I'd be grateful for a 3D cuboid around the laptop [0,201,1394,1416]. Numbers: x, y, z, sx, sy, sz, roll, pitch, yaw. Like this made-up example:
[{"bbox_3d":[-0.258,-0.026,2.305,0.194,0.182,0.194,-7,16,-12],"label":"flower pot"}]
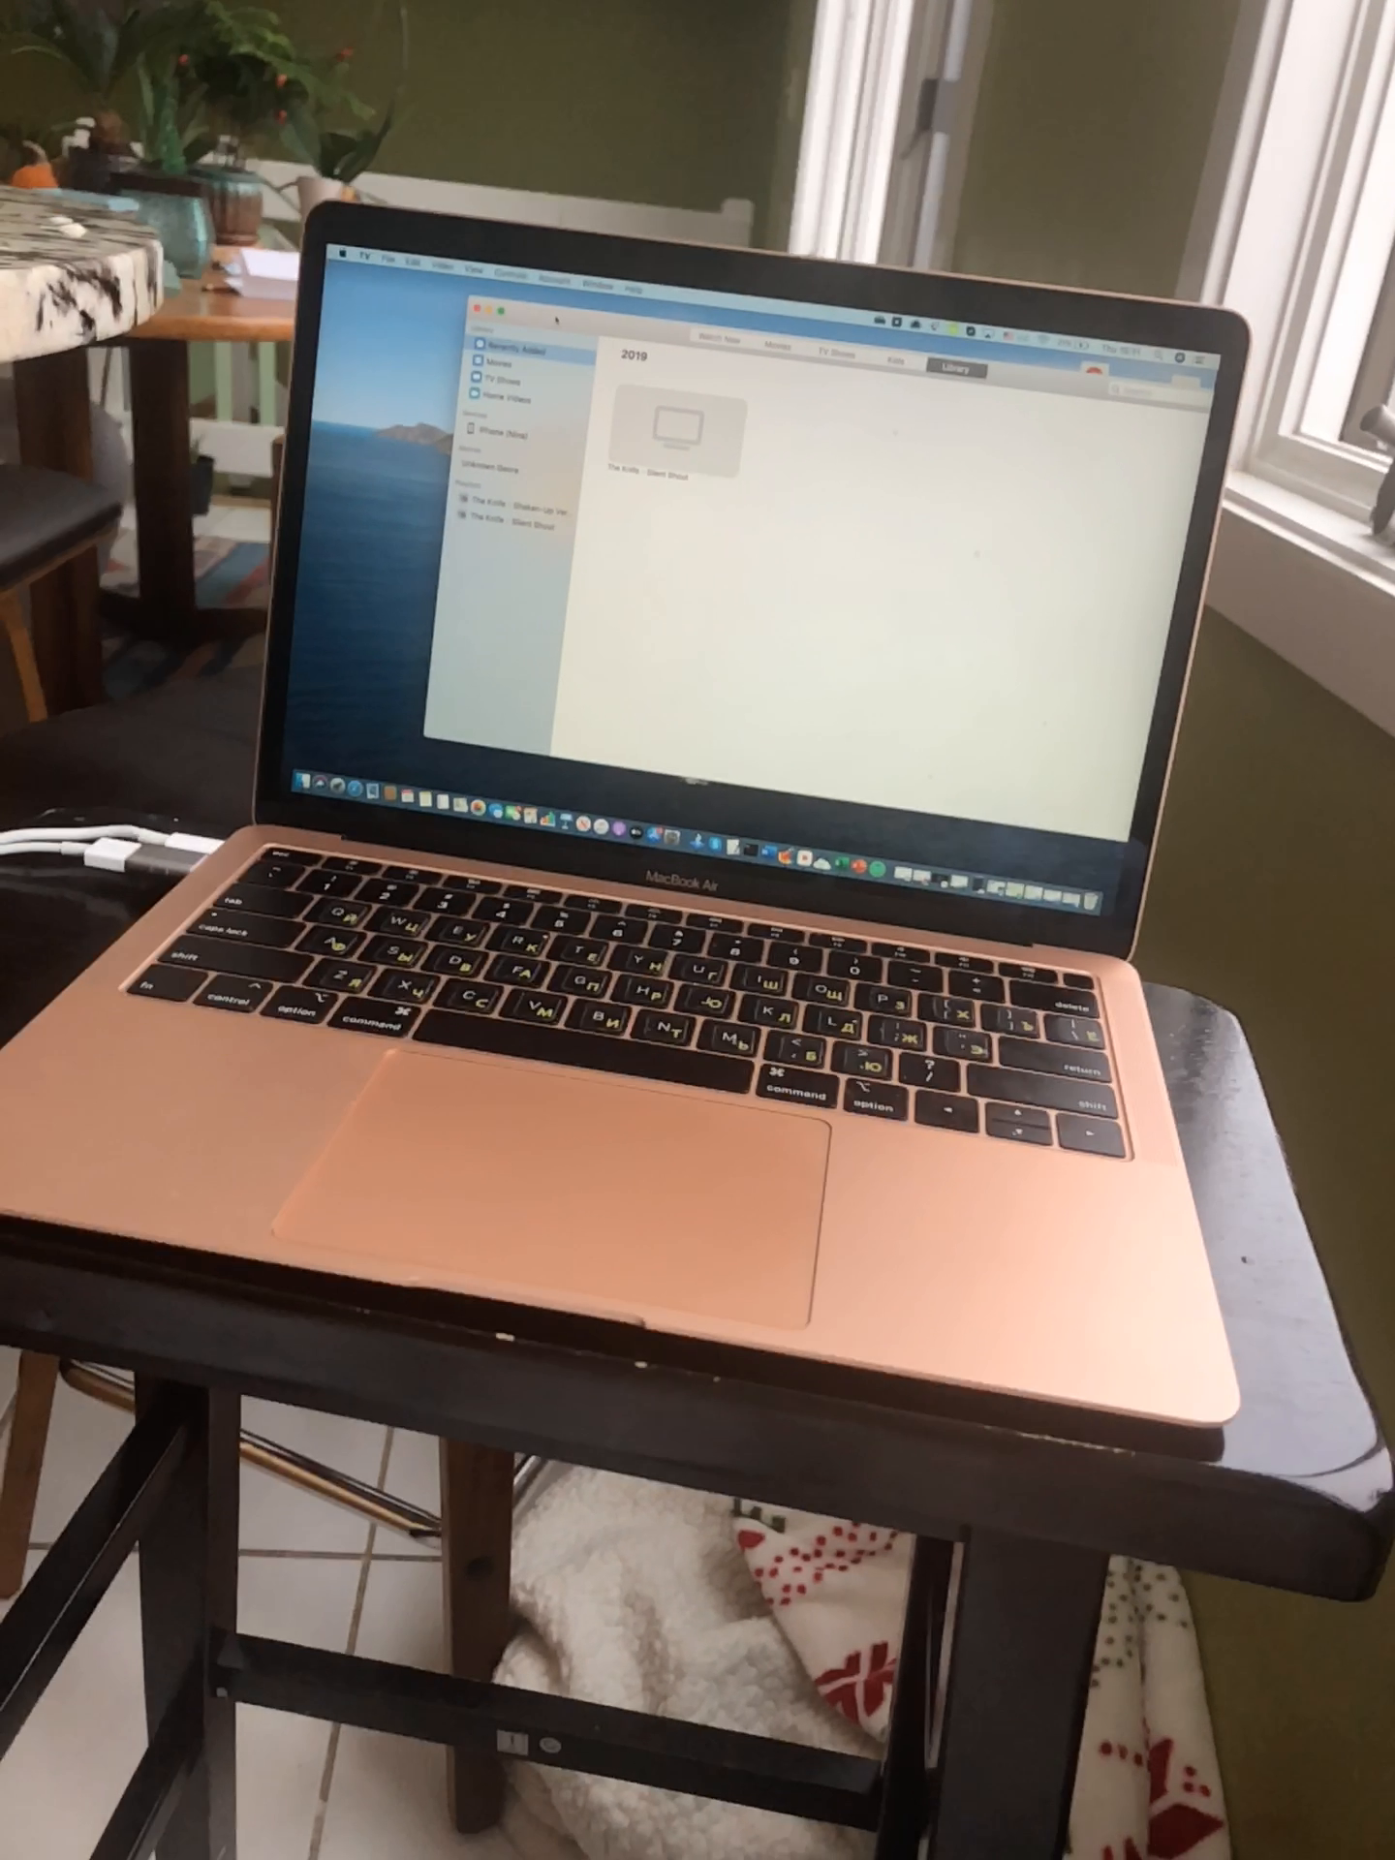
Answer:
[{"bbox_3d":[-0.006,-0.067,0.407,0.297,0.196,0.265,9,26,5],"label":"laptop"}]
